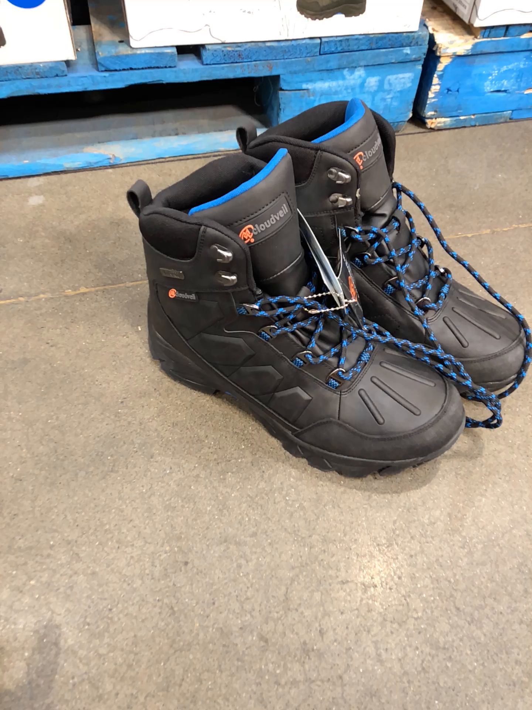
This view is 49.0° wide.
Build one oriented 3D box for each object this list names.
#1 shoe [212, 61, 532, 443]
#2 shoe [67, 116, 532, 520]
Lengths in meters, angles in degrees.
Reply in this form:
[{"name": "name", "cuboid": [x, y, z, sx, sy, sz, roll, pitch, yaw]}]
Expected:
[{"name": "shoe", "cuboid": [0.113, -0.091, 0.525, 0.300, 0.209, 0.120, 28, 57, 19]}, {"name": "shoe", "cuboid": [0.023, -0.026, 0.474, 0.300, 0.209, 0.120, 24, 56, 15]}]
